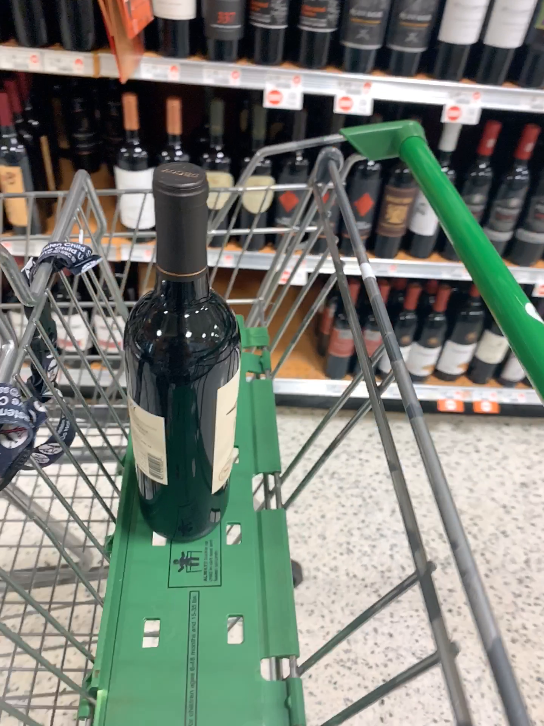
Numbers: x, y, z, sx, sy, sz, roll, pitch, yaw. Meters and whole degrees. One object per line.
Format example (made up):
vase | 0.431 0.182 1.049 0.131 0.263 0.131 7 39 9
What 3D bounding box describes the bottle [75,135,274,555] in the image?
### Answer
bottle | -0.067 0.009 0.396 0.090 0.297 0.091 3 43 -3
